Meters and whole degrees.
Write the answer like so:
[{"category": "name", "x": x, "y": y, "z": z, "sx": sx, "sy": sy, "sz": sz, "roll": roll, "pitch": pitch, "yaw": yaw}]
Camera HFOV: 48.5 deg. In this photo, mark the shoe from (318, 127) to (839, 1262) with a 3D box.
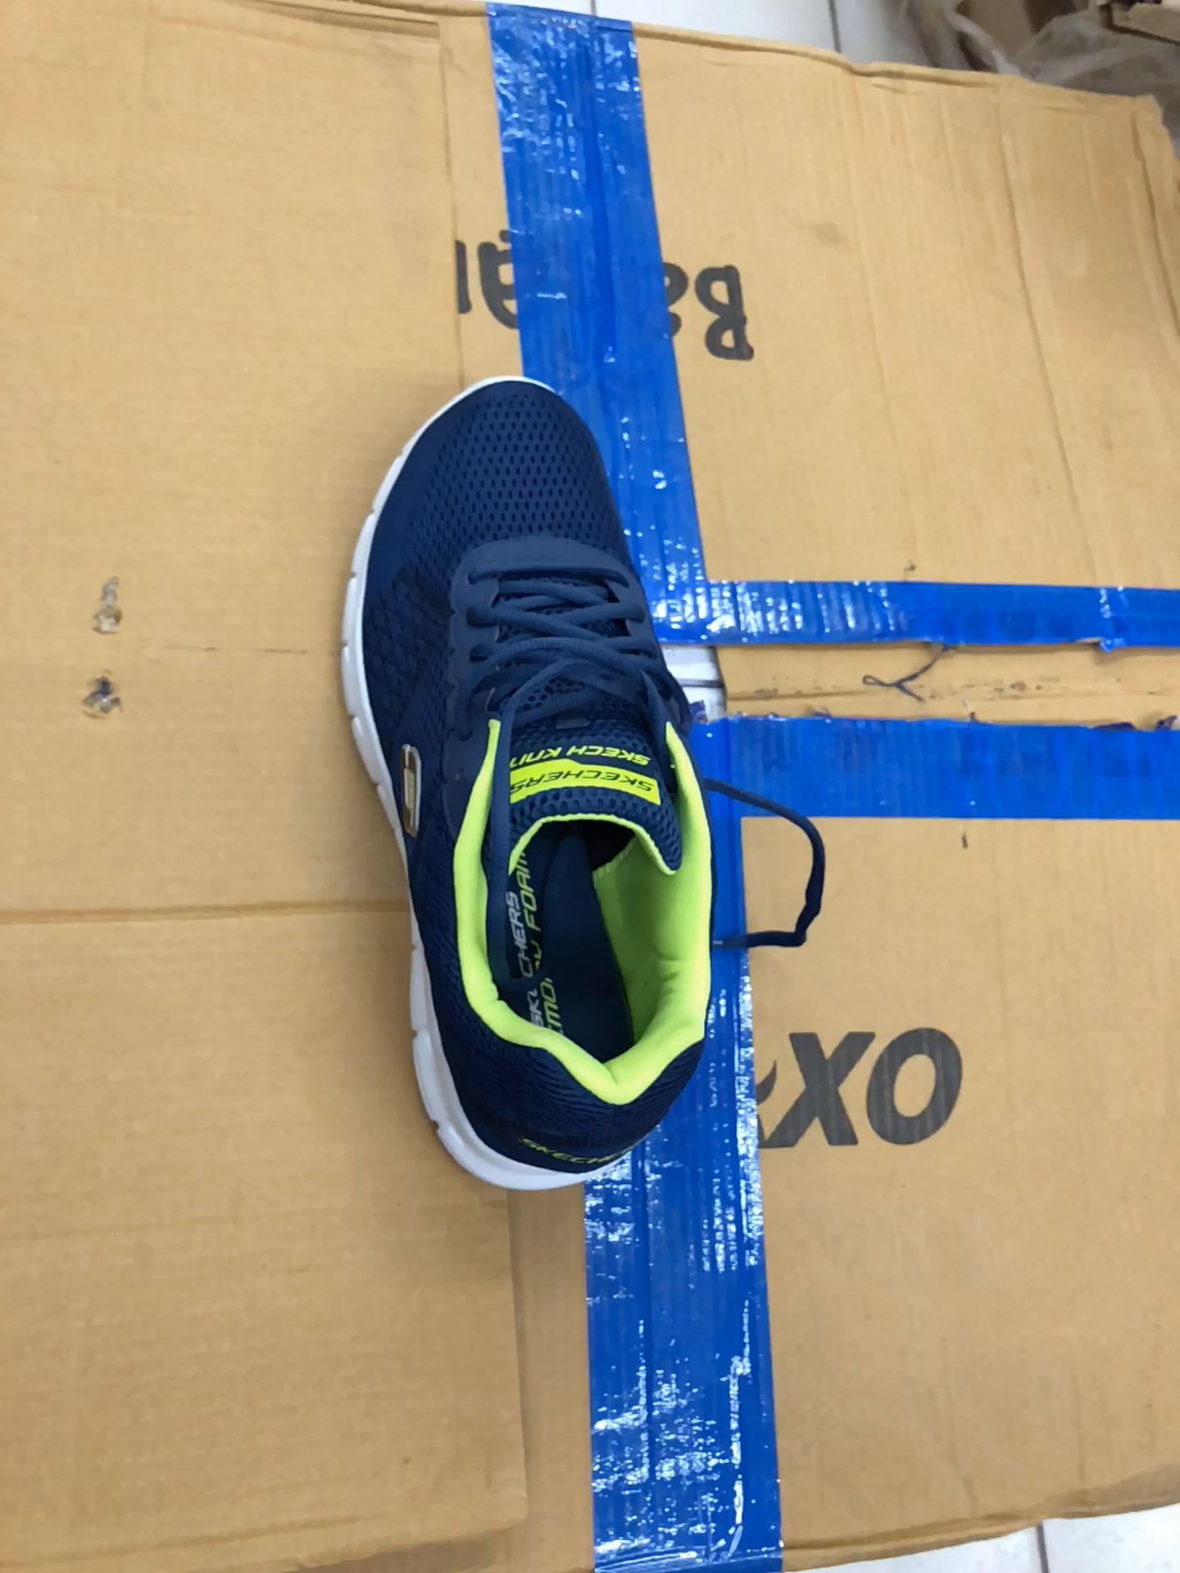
[{"category": "shoe", "x": -0.022, "y": -0.024, "z": 0.419, "sx": 0.107, "sy": 0.146, "sz": 0.307, "roll": -3, "pitch": 76, "yaw": -15}]
